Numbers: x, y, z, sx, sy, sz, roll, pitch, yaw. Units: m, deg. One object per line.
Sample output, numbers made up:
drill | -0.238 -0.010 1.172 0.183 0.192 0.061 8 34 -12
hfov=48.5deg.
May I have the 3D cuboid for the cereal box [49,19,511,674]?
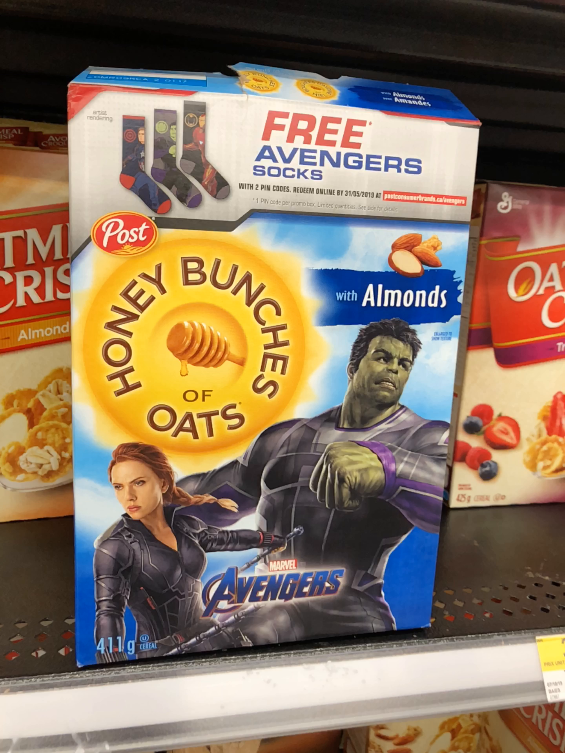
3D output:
cereal box | -0.009 -0.005 0.329 0.200 0.289 0.070 0 13 -14
